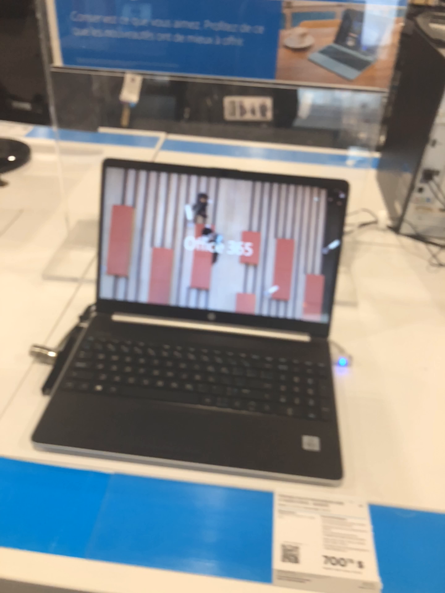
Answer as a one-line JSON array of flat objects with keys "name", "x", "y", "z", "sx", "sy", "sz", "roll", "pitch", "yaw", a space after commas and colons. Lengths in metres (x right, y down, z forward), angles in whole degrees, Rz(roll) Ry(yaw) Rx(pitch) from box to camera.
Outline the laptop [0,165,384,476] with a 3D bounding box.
[{"name": "laptop", "x": -0.018, "y": 0.004, "z": 0.633, "sx": 0.346, "sy": 0.196, "sz": 0.335, "roll": 6, "pitch": 36, "yaw": 3}]
